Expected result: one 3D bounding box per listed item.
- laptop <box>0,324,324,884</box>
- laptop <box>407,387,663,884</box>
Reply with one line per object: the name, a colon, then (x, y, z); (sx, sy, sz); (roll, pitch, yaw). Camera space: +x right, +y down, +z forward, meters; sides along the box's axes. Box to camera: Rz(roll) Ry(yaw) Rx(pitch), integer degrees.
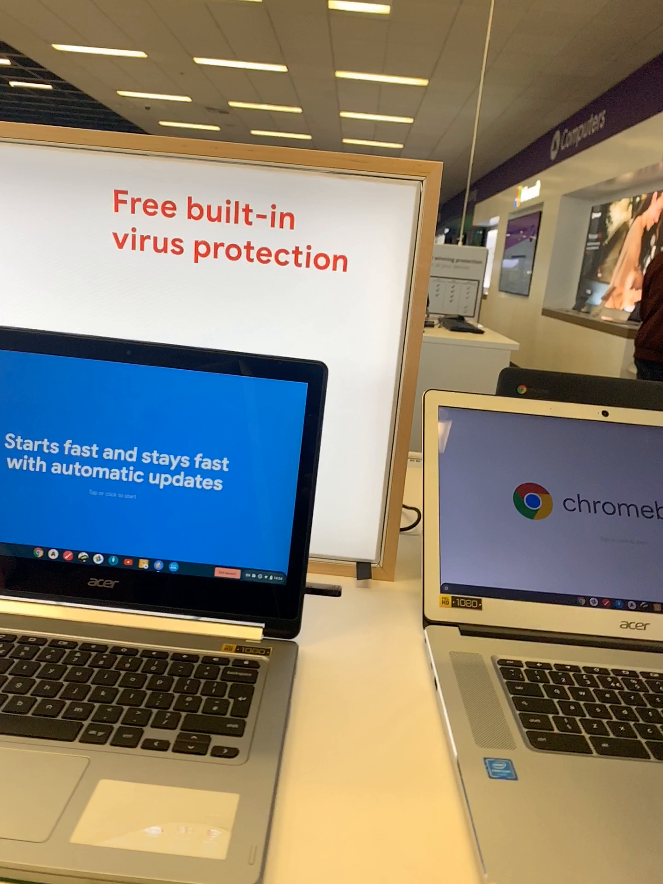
laptop: (-0.173, 0.061, 0.439); (0.307, 0.216, 0.279); (6, 14, -1)
laptop: (0.277, 0.100, 0.532); (0.375, 0.175, 0.427); (5, 15, -2)
